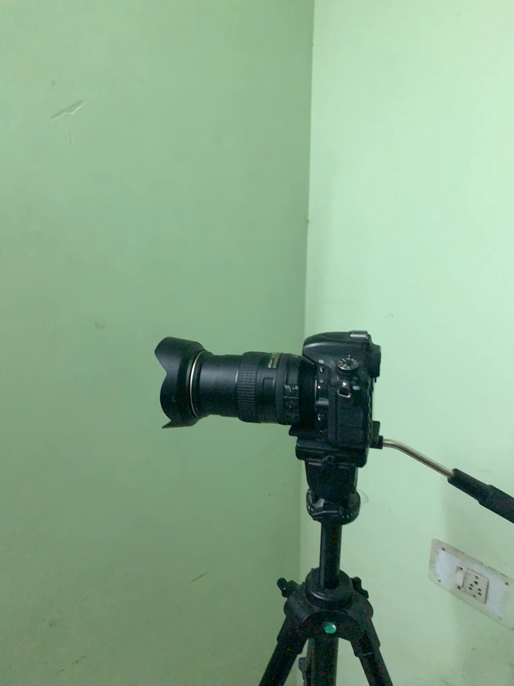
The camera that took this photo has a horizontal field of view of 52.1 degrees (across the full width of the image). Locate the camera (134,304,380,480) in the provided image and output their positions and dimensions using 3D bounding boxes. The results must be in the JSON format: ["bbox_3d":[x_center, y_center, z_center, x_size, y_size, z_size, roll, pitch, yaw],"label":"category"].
[{"bbox_3d":[0.011,0.044,0.628,0.250,0.131,0.164,4,19,14],"label":"camera"}]
